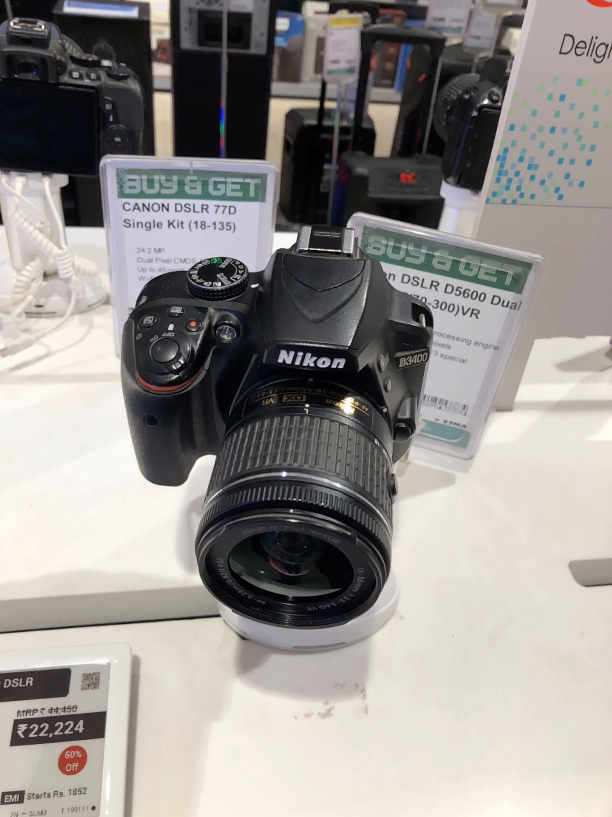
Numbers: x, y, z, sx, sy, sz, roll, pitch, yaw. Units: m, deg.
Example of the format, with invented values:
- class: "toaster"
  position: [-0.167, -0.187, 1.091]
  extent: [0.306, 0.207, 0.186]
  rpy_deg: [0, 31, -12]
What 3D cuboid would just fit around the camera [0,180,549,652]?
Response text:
- class: "camera"
  position: [-0.011, -0.003, 0.229]
  extent: [0.130, 0.089, 0.121]
  rpy_deg: [6, 39, -2]
